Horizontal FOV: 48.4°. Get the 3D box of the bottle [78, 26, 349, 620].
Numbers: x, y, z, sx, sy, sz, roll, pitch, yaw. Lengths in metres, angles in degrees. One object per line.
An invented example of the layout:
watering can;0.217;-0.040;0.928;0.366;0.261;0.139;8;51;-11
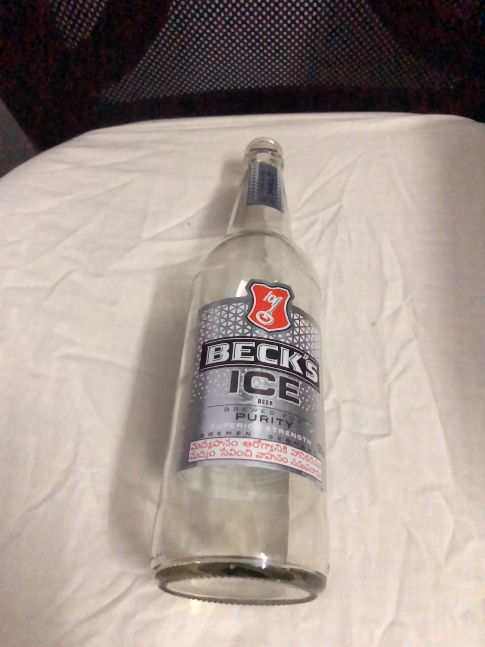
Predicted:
bottle;-0.001;-0.018;0.261;0.080;0.080;0.281;0;61;5
